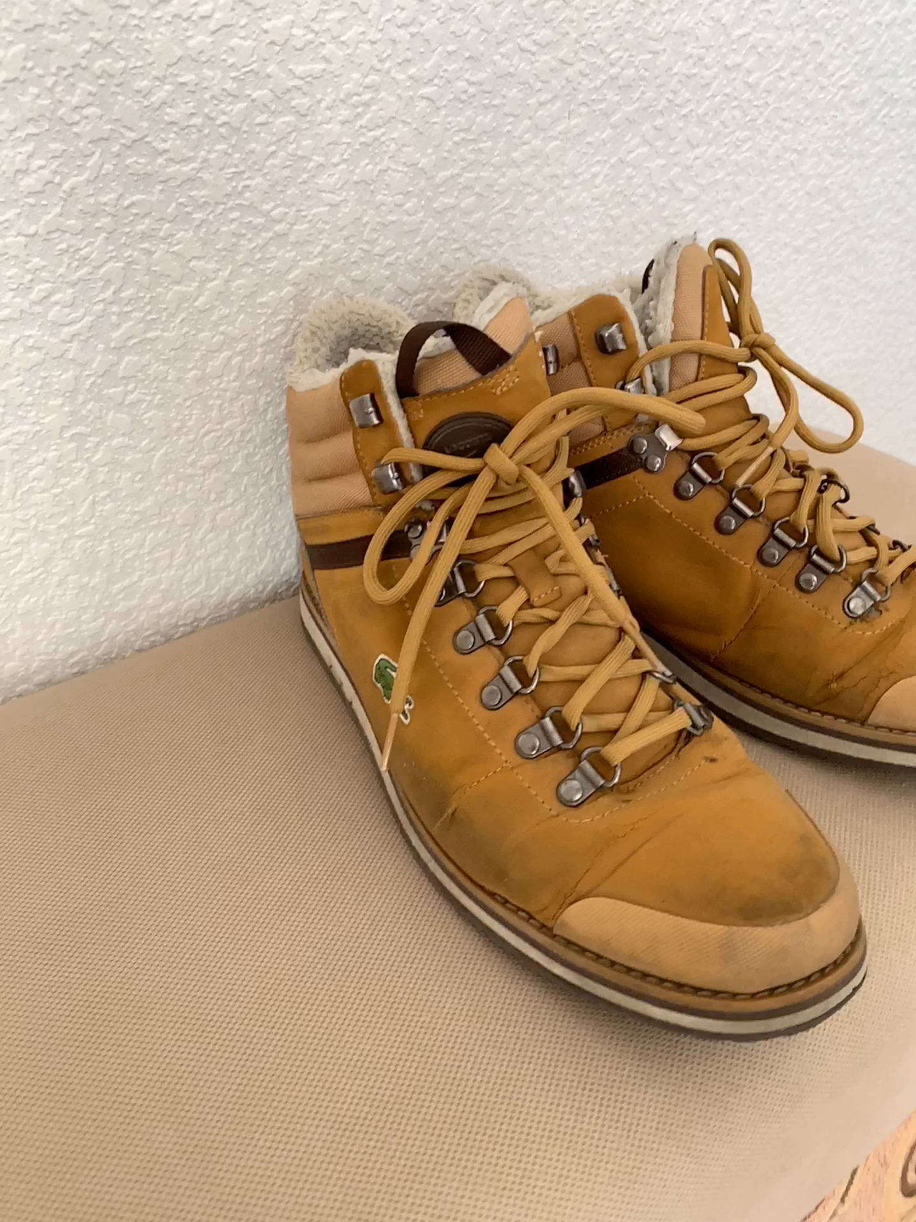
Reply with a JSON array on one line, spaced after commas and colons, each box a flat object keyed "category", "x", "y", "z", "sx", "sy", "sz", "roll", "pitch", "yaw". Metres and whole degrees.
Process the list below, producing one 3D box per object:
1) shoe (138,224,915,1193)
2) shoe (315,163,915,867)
[{"category": "shoe", "x": 0.009, "y": -0.008, "z": 0.323, "sx": 0.120, "sy": 0.149, "sz": 0.301, "roll": -20, "pitch": 42, "yaw": -24}, {"category": "shoe", "x": 0.095, "y": -0.062, "z": 0.387, "sx": 0.301, "sy": 0.149, "sz": 0.120, "roll": 29, "pitch": 47, "yaw": 29}]
